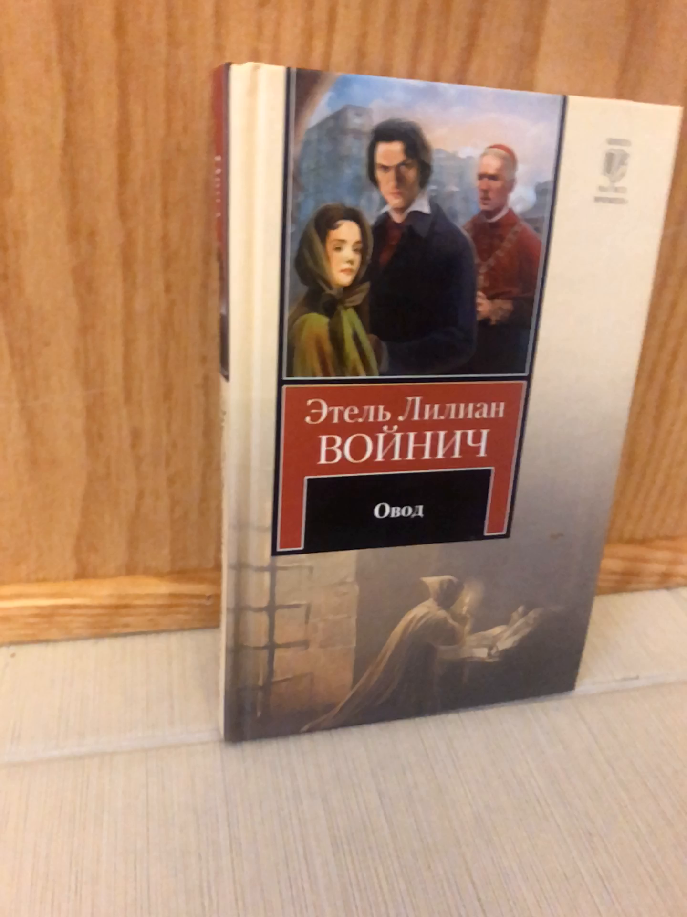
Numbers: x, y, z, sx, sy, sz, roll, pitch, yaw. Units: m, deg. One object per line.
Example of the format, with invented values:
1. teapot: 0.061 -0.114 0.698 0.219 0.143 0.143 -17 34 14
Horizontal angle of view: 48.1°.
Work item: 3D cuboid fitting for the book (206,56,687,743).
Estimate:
1. book: 0.028 -0.010 0.252 0.139 0.203 0.030 -2 20 -15
